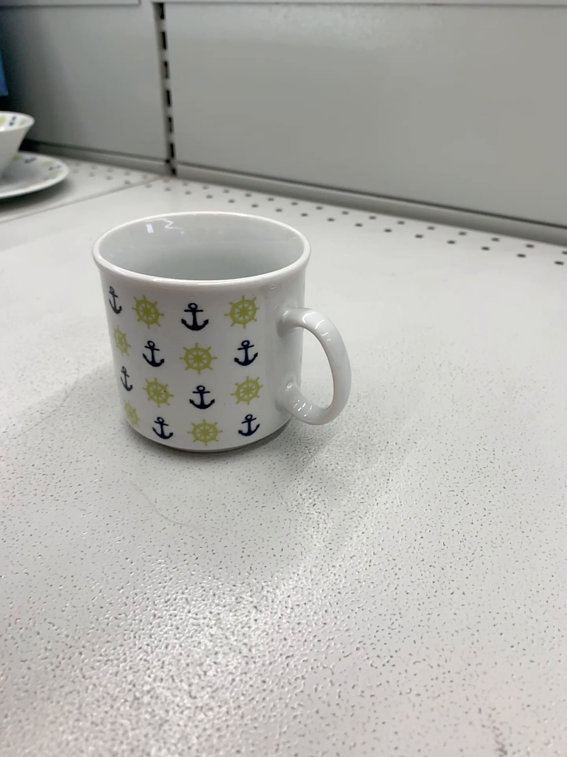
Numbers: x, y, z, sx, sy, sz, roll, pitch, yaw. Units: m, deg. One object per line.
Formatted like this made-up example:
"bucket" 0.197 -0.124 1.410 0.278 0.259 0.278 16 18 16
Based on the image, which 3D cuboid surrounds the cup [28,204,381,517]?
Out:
"cup" -0.022 -0.014 0.222 0.096 0.076 0.078 10 30 16
